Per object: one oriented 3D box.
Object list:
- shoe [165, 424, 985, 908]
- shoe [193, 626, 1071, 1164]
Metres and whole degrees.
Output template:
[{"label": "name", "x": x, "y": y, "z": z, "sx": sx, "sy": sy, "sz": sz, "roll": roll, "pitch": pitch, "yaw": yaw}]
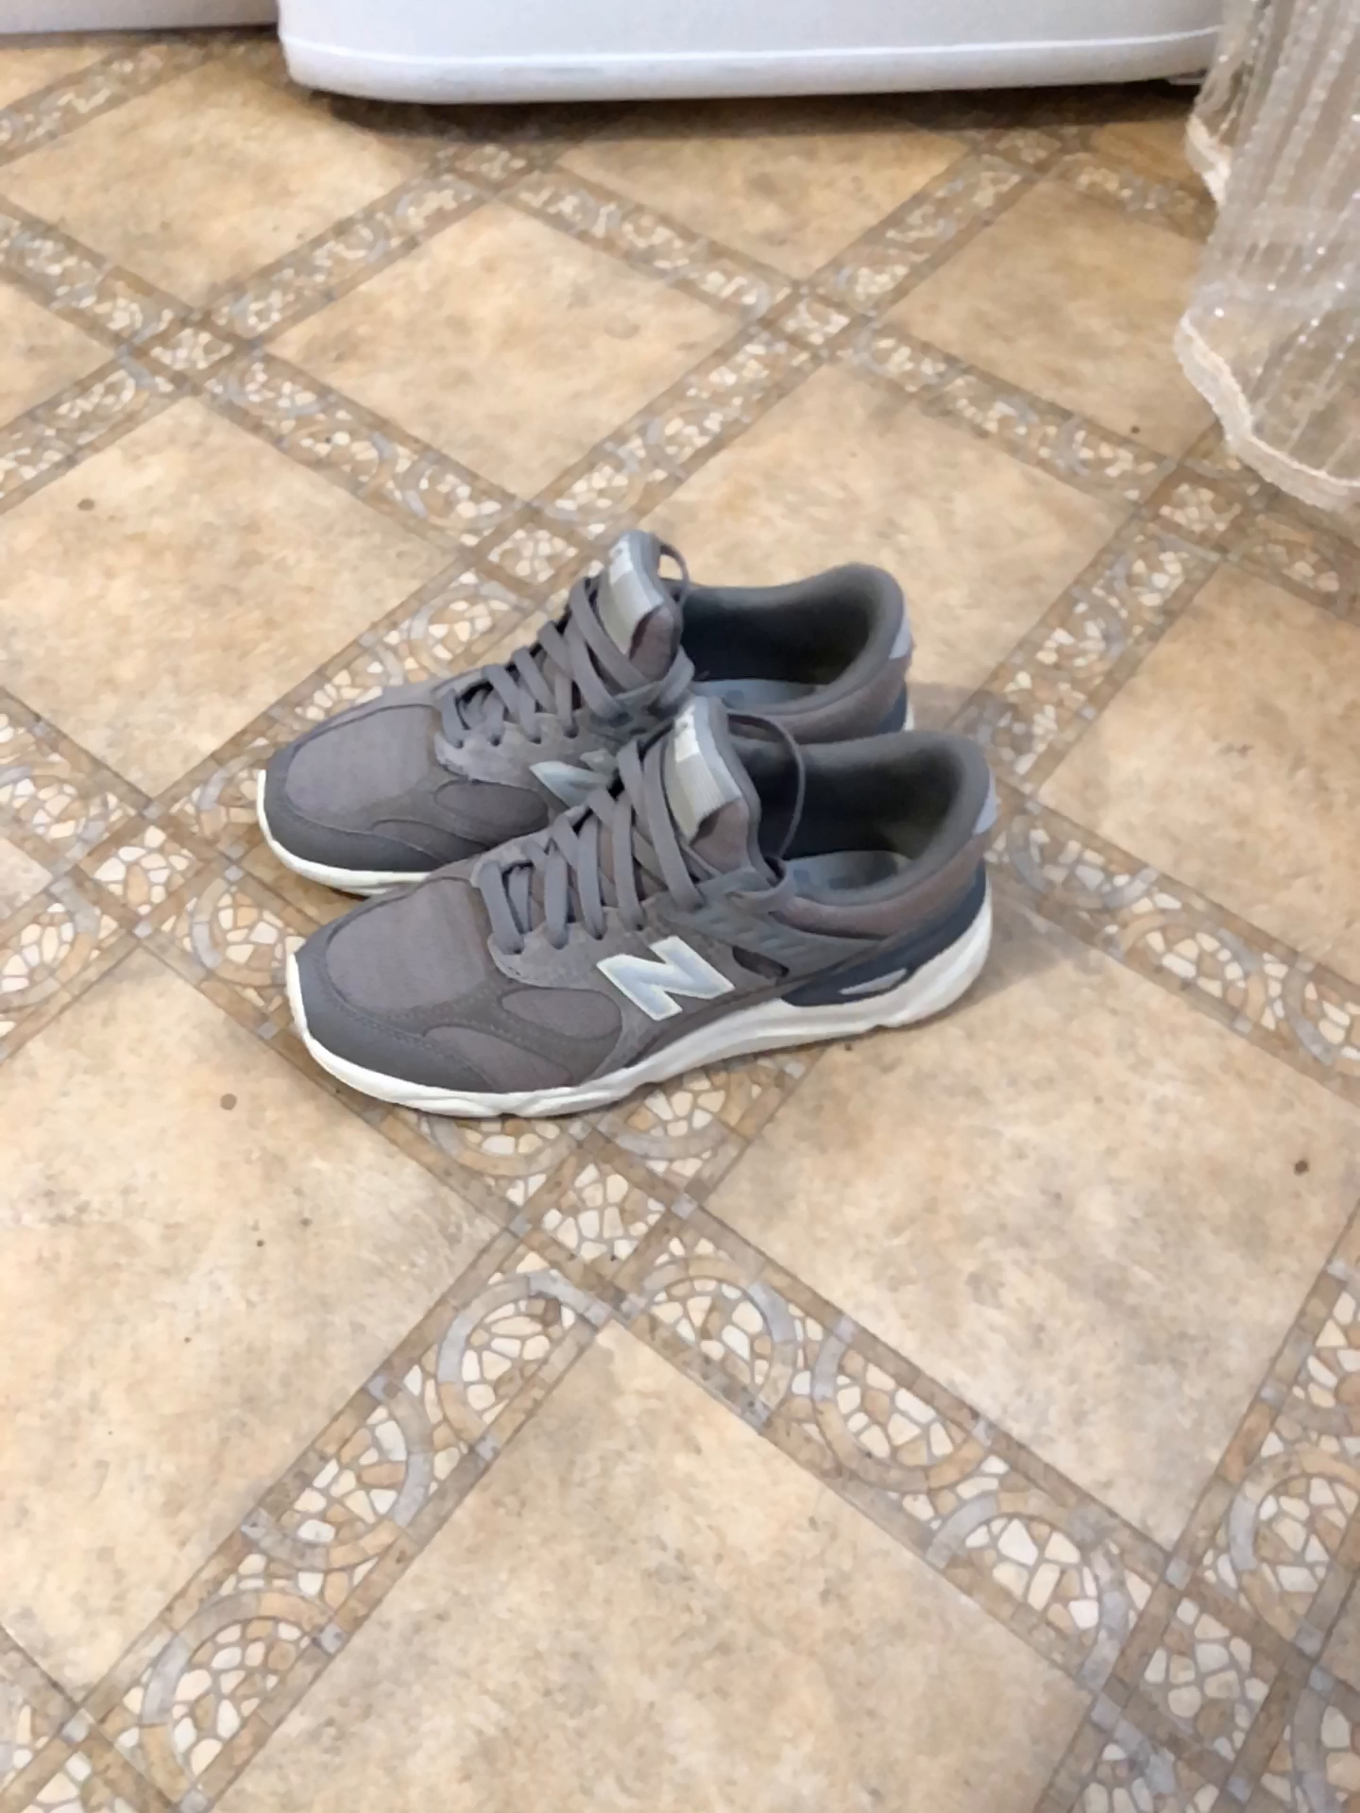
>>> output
[{"label": "shoe", "x": -0.040, "y": -0.090, "z": 0.568, "sx": 0.270, "sy": 0.119, "sz": 0.101, "roll": -7, "pitch": 56, "yaw": -7}, {"label": "shoe", "x": -0.020, "y": -0.004, "z": 0.536, "sx": 0.270, "sy": 0.119, "sz": 0.101, "roll": -9, "pitch": 57, "yaw": -9}]
